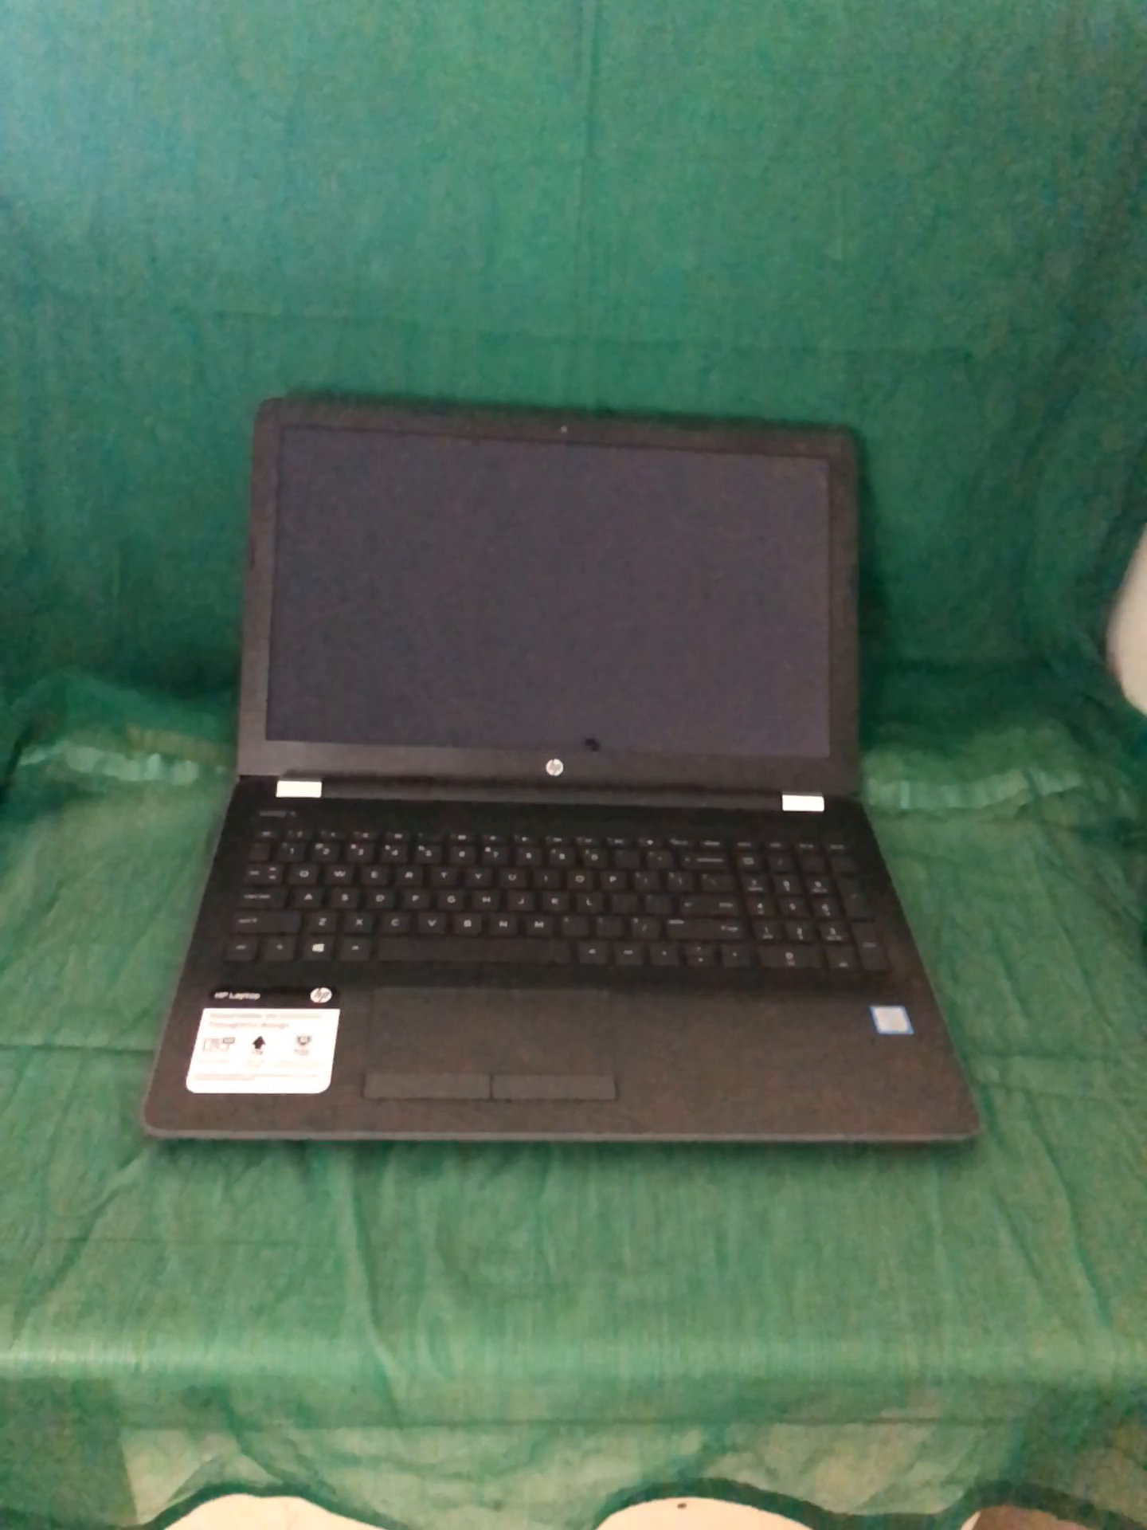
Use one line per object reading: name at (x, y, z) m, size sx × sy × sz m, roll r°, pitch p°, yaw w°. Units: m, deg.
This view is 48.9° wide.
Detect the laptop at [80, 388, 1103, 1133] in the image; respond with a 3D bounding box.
laptop at (0.000, -0.033, 0.681) m, size 0.378 × 0.178 × 0.417 m, roll 2°, pitch 36°, yaw -4°
